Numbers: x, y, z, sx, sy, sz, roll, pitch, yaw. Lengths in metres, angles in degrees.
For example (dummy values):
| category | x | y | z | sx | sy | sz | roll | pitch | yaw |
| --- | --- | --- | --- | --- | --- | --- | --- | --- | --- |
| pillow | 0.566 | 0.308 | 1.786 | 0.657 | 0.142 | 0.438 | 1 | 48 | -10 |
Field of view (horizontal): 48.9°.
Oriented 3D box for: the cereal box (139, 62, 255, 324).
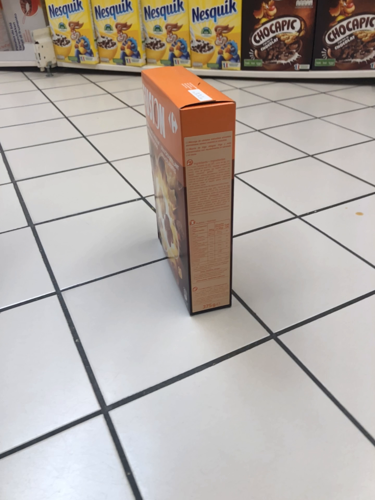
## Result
| category | x | y | z | sx | sy | sz | roll | pitch | yaw |
| --- | --- | --- | --- | --- | --- | --- | --- | --- | --- |
| cereal box | 0.006 | -0.076 | 0.503 | 0.070 | 0.249 | 0.201 | -11 | 34 | -11 |
